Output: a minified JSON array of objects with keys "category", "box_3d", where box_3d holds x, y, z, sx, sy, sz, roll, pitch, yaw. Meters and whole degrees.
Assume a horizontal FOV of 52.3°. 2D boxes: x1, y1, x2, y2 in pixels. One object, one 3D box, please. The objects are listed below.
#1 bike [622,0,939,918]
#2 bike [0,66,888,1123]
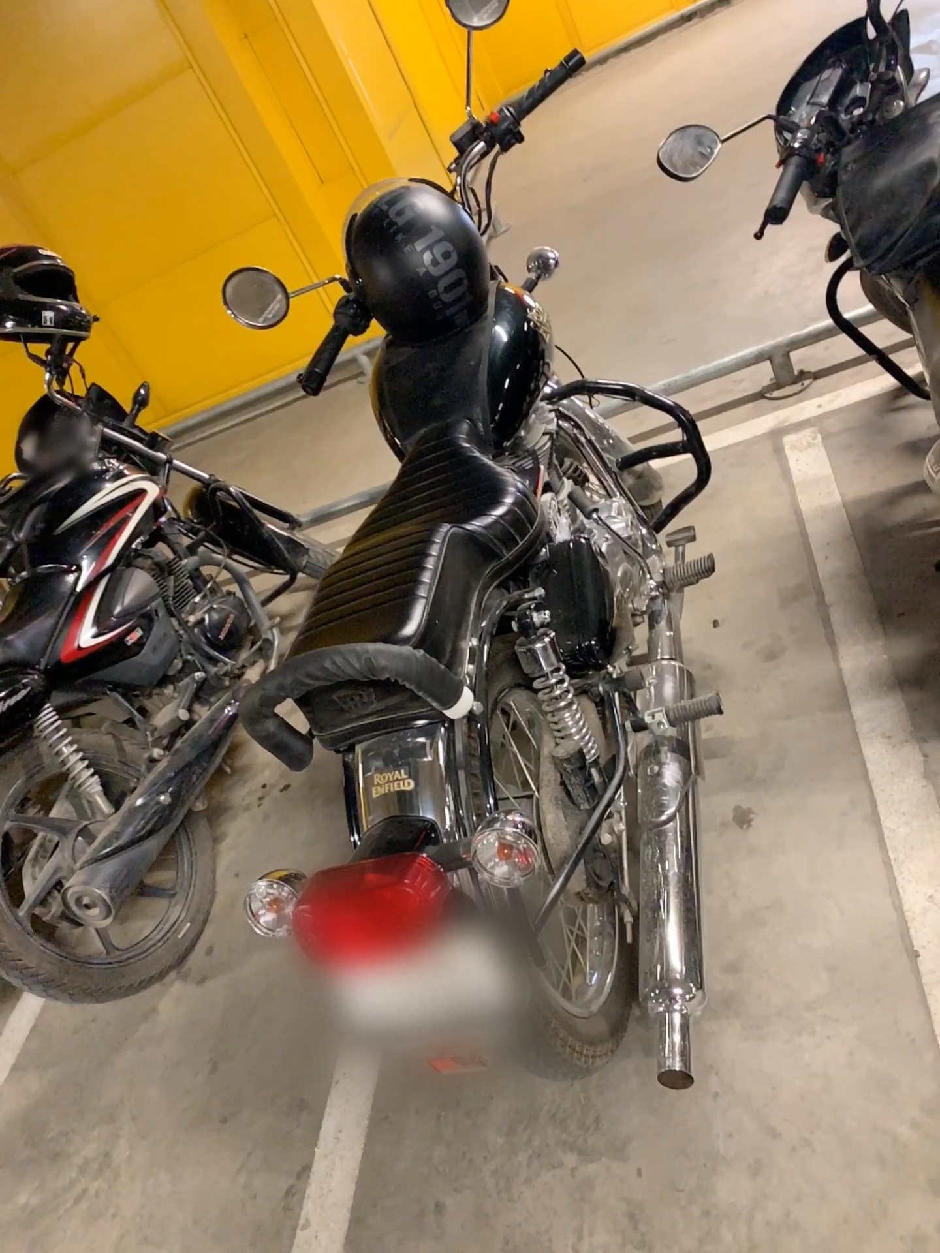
[{"category":"bike","box_3d":[0.740,-0.536,1.652,0.599,0.924,1.726,-18,32,19]},{"category":"bike","box_3d":[-0.067,-0.244,1.818,0.764,1.050,1.833,-21,33,15]}]
